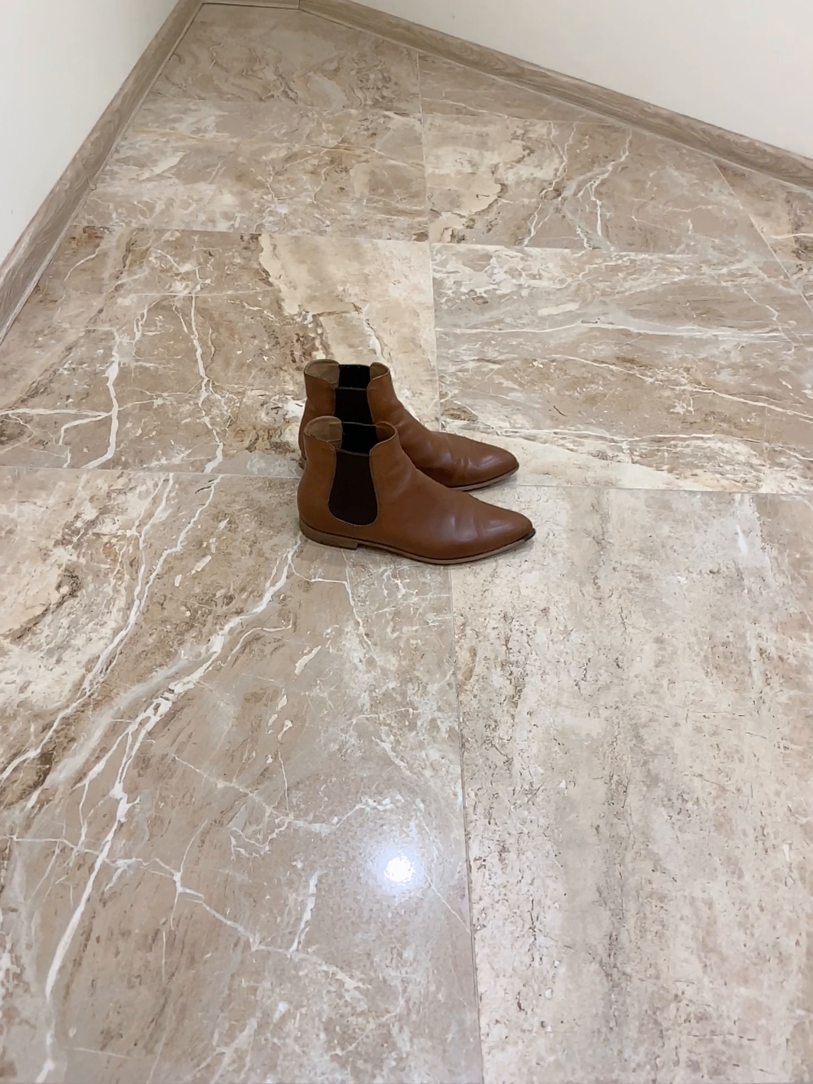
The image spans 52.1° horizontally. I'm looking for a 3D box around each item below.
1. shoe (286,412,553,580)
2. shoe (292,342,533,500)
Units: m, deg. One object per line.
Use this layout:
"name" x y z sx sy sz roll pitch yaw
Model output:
"shoe" 0.009 -0.046 0.854 0.250 0.129 0.090 4 45 -2
"shoe" 0.006 -0.135 0.932 0.250 0.119 0.090 6 45 1
